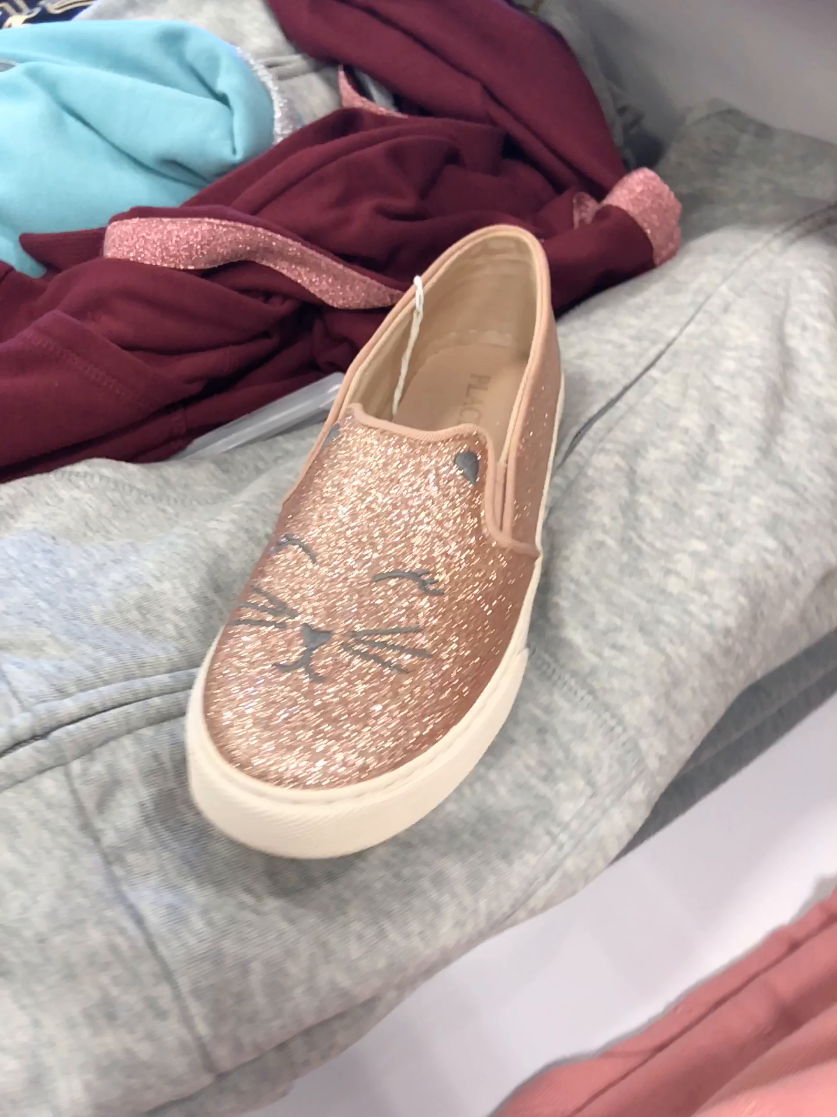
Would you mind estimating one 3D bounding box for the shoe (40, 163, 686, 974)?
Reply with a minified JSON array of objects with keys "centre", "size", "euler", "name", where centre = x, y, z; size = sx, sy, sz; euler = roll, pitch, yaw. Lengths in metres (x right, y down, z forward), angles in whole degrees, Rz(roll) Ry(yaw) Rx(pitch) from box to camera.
[{"centre":[0.004,-0.017,0.271],"size":[0.090,0.080,0.221],"euler":[18,50,9],"name":"shoe"}]
